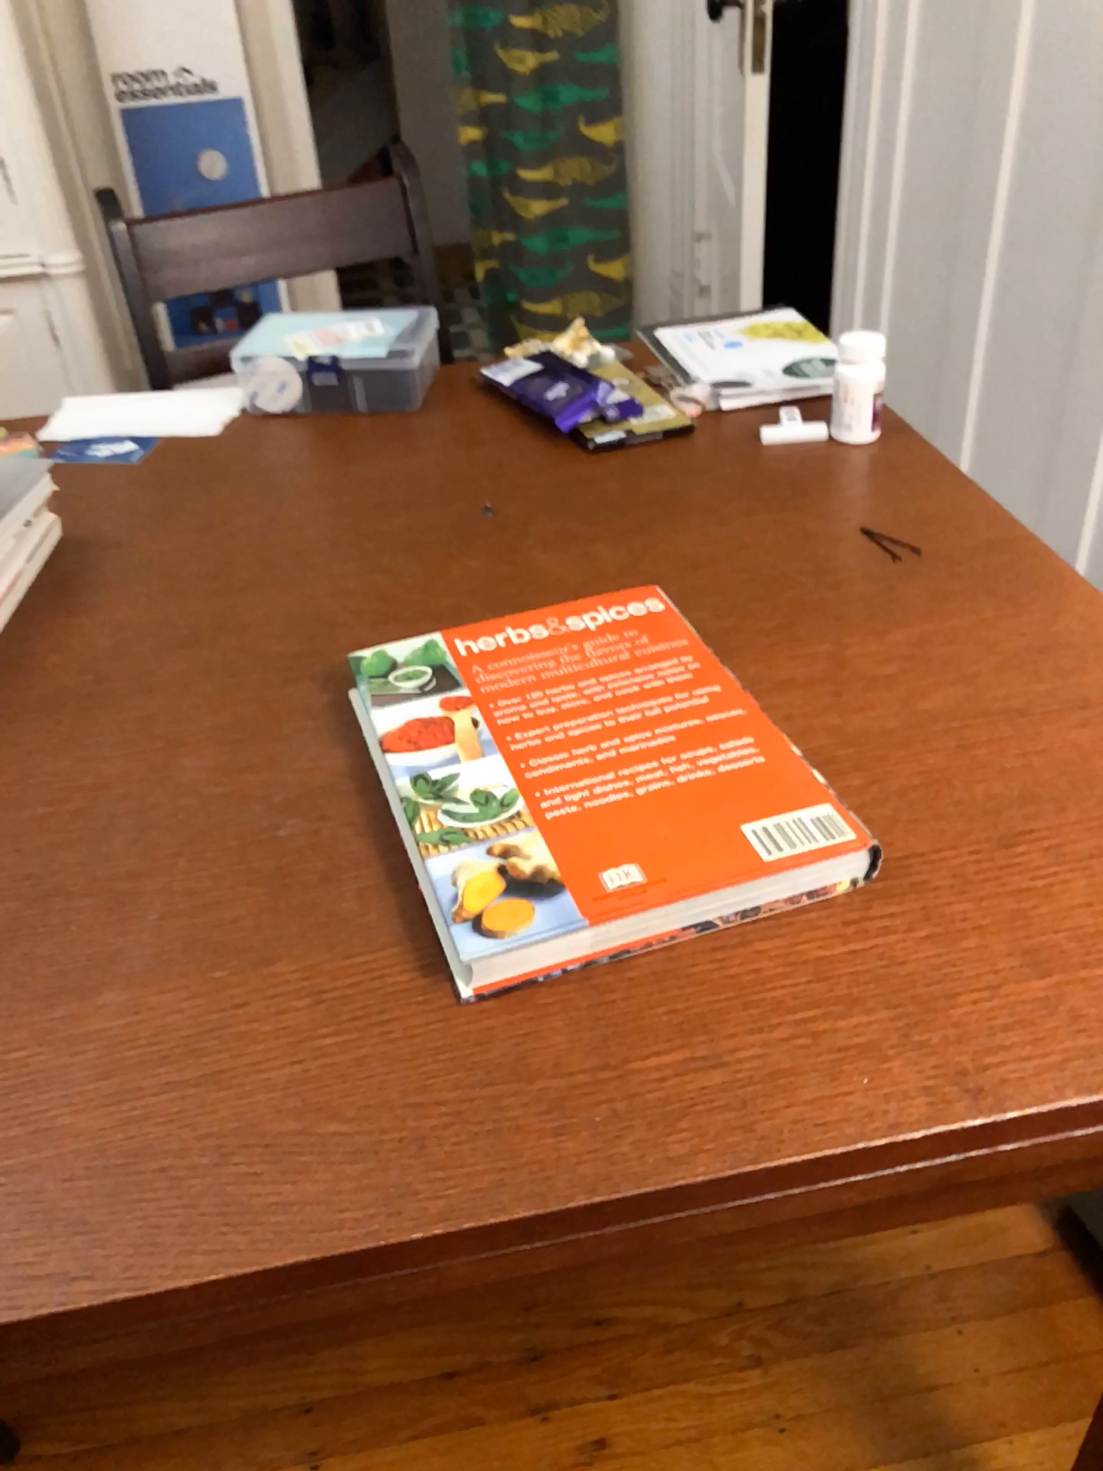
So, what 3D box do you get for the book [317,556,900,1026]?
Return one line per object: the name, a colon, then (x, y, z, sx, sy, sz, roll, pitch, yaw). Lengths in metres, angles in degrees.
book: (0.010, 0.005, 0.616, 0.210, 0.040, 0.271, -14, 37, -13)
